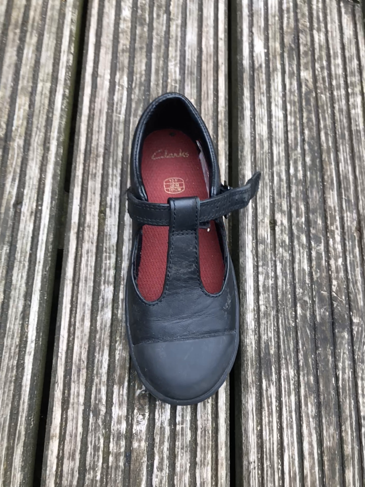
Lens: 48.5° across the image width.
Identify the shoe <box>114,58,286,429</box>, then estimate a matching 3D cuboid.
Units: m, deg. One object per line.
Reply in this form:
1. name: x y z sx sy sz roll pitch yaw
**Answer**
1. shoe: 0.004 0.000 0.248 0.080 0.080 0.193 2 76 -7
